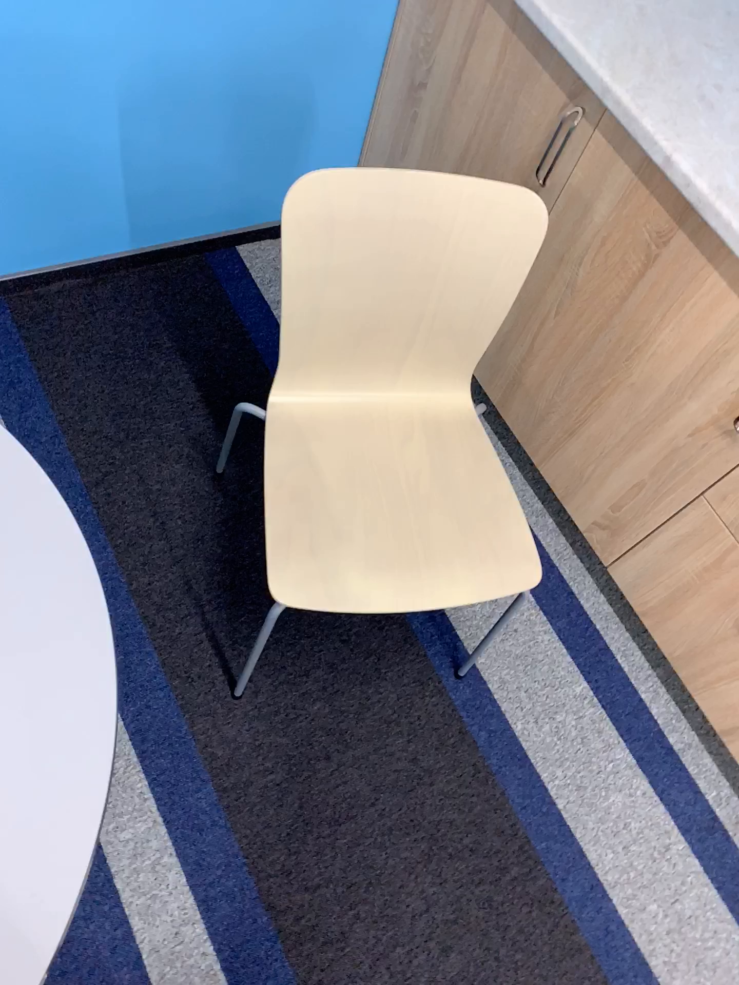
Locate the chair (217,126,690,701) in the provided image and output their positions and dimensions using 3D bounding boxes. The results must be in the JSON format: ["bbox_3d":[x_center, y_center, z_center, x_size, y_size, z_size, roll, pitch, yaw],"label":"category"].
[{"bbox_3d":[0.014,-0.051,1.311,0.476,0.837,0.571,-1,61,-15],"label":"chair"}]
